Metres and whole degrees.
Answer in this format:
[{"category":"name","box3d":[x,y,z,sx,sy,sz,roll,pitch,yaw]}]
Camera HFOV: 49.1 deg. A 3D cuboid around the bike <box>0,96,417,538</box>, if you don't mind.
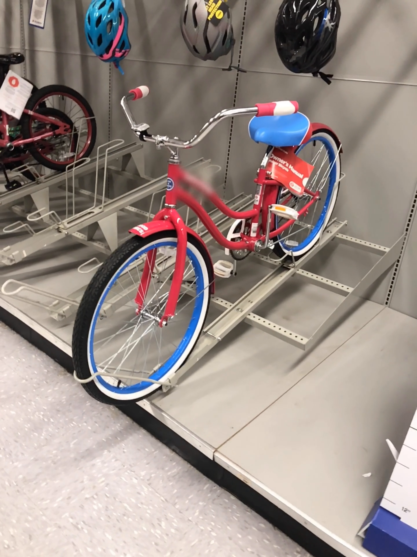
[{"category":"bike","box3d":[0.082,-0.106,1.882,0.812,0.676,1.610,23,43,34]}]
